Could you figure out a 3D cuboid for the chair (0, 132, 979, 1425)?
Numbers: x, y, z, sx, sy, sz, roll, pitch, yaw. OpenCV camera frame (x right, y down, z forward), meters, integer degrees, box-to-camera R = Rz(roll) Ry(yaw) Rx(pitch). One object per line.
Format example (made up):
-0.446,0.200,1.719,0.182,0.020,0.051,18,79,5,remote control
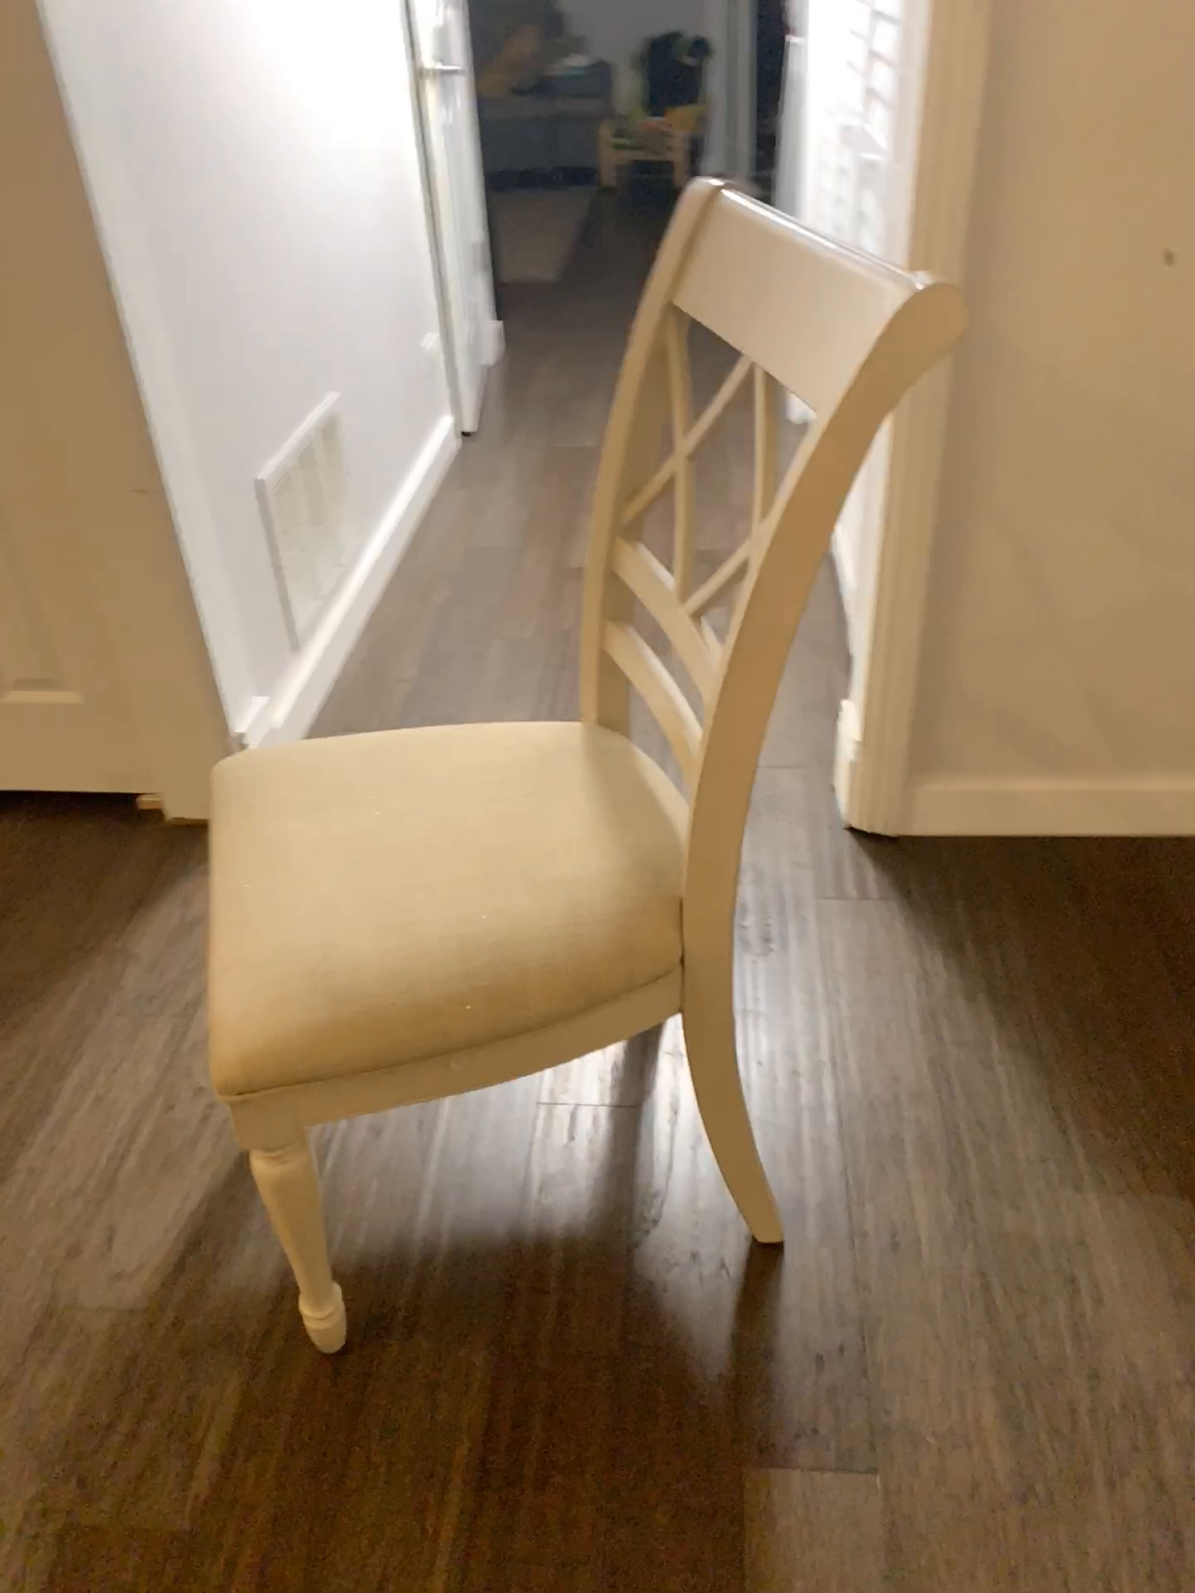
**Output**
-0.122,-0.019,1.175,0.610,0.994,0.583,-11,36,-11,chair
